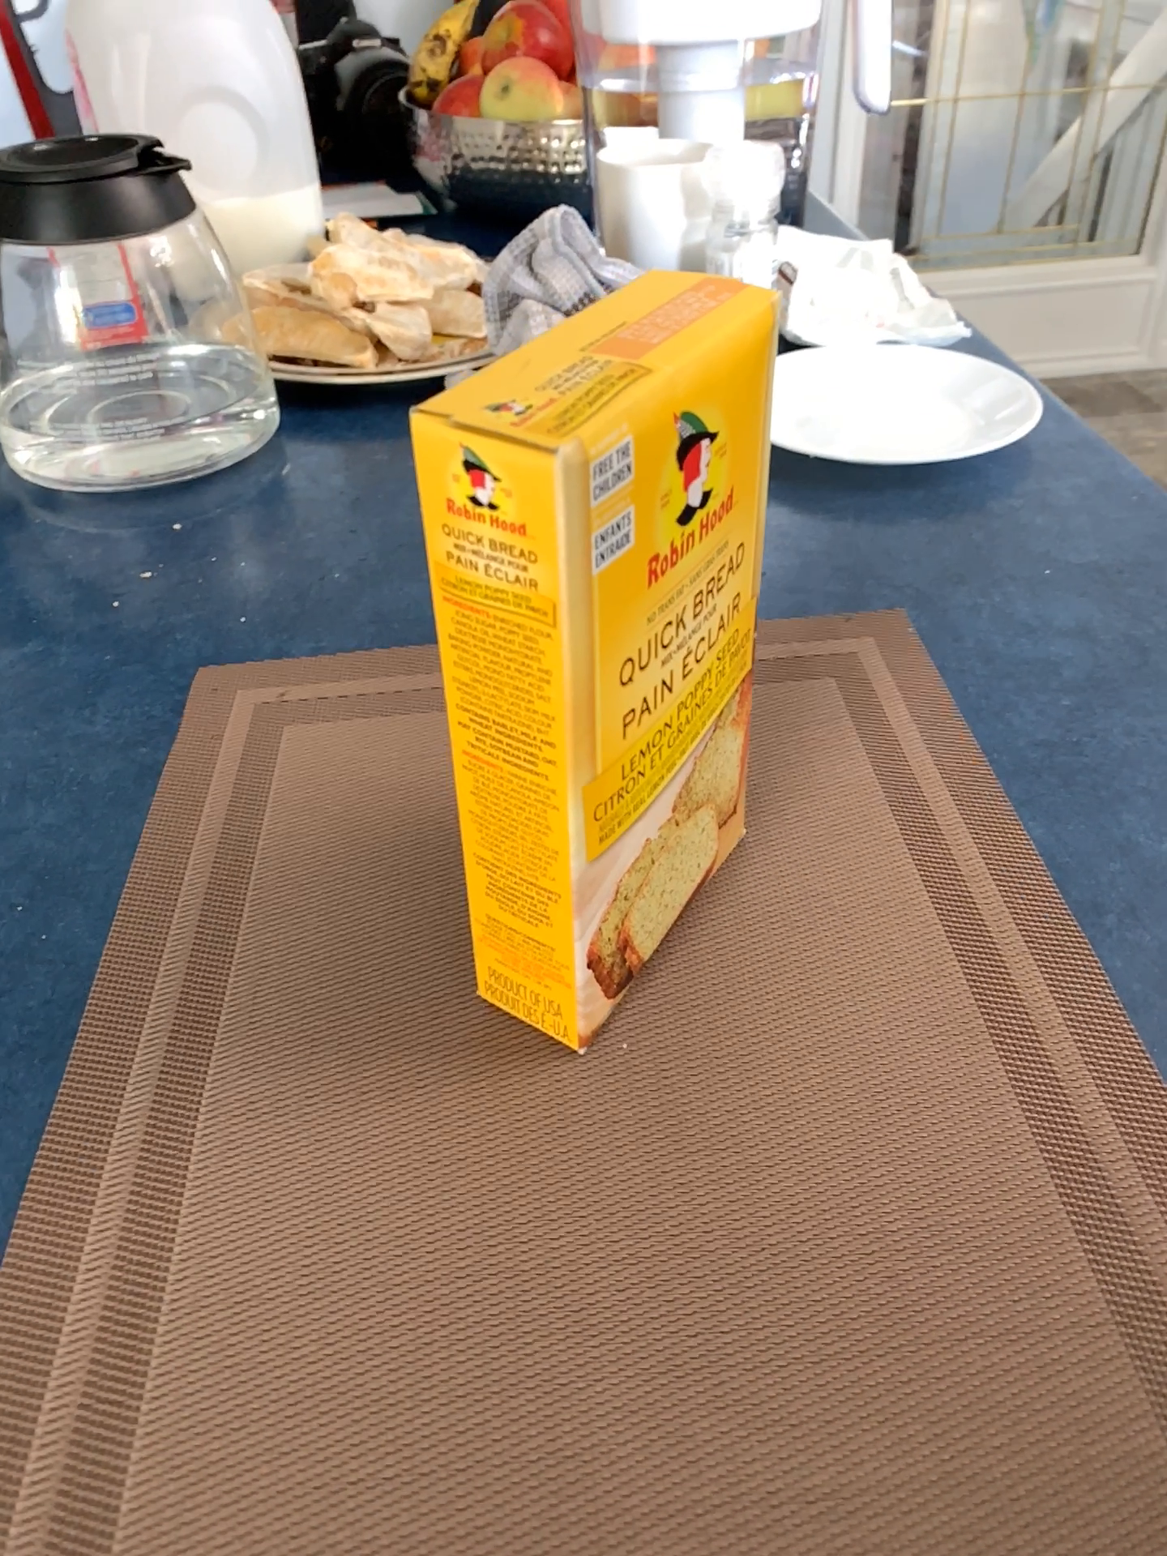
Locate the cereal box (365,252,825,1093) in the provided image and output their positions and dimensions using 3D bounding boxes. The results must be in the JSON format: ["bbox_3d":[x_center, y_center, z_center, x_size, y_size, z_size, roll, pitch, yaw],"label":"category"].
[{"bbox_3d":[0.013,-0.028,0.320,0.040,0.178,0.131,19,42,26],"label":"cereal box"}]
